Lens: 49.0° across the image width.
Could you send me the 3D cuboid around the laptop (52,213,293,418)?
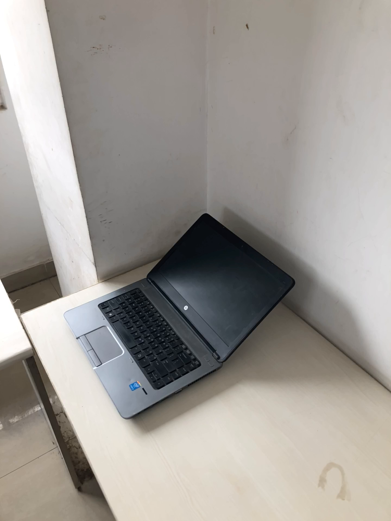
[{"bbox_3d":[-0.054,0.088,0.968,0.406,0.137,0.329,-23,44,-25],"label":"laptop"}]
